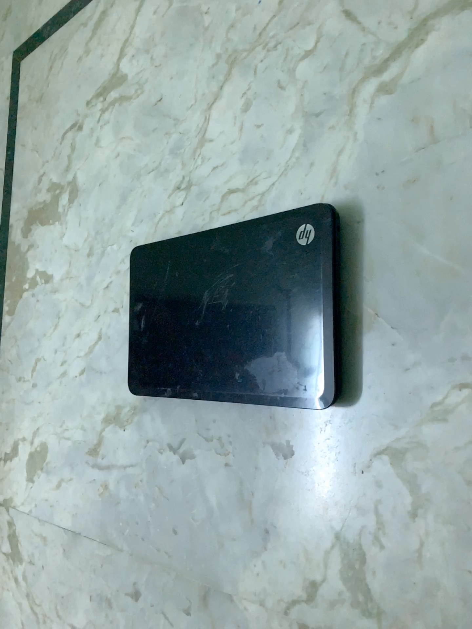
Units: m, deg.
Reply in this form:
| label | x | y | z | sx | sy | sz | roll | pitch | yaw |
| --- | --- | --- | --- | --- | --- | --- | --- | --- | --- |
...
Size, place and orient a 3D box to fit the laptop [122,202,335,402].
| label | x | y | z | sx | sy | sz | roll | pitch | yaw |
| --- | --- | --- | --- | --- | --- | --- | --- | --- | --- |
| laptop | -0.027 | -0.006 | 0.635 | 0.335 | 0.022 | 0.221 | -5 | 75 | 41 |
